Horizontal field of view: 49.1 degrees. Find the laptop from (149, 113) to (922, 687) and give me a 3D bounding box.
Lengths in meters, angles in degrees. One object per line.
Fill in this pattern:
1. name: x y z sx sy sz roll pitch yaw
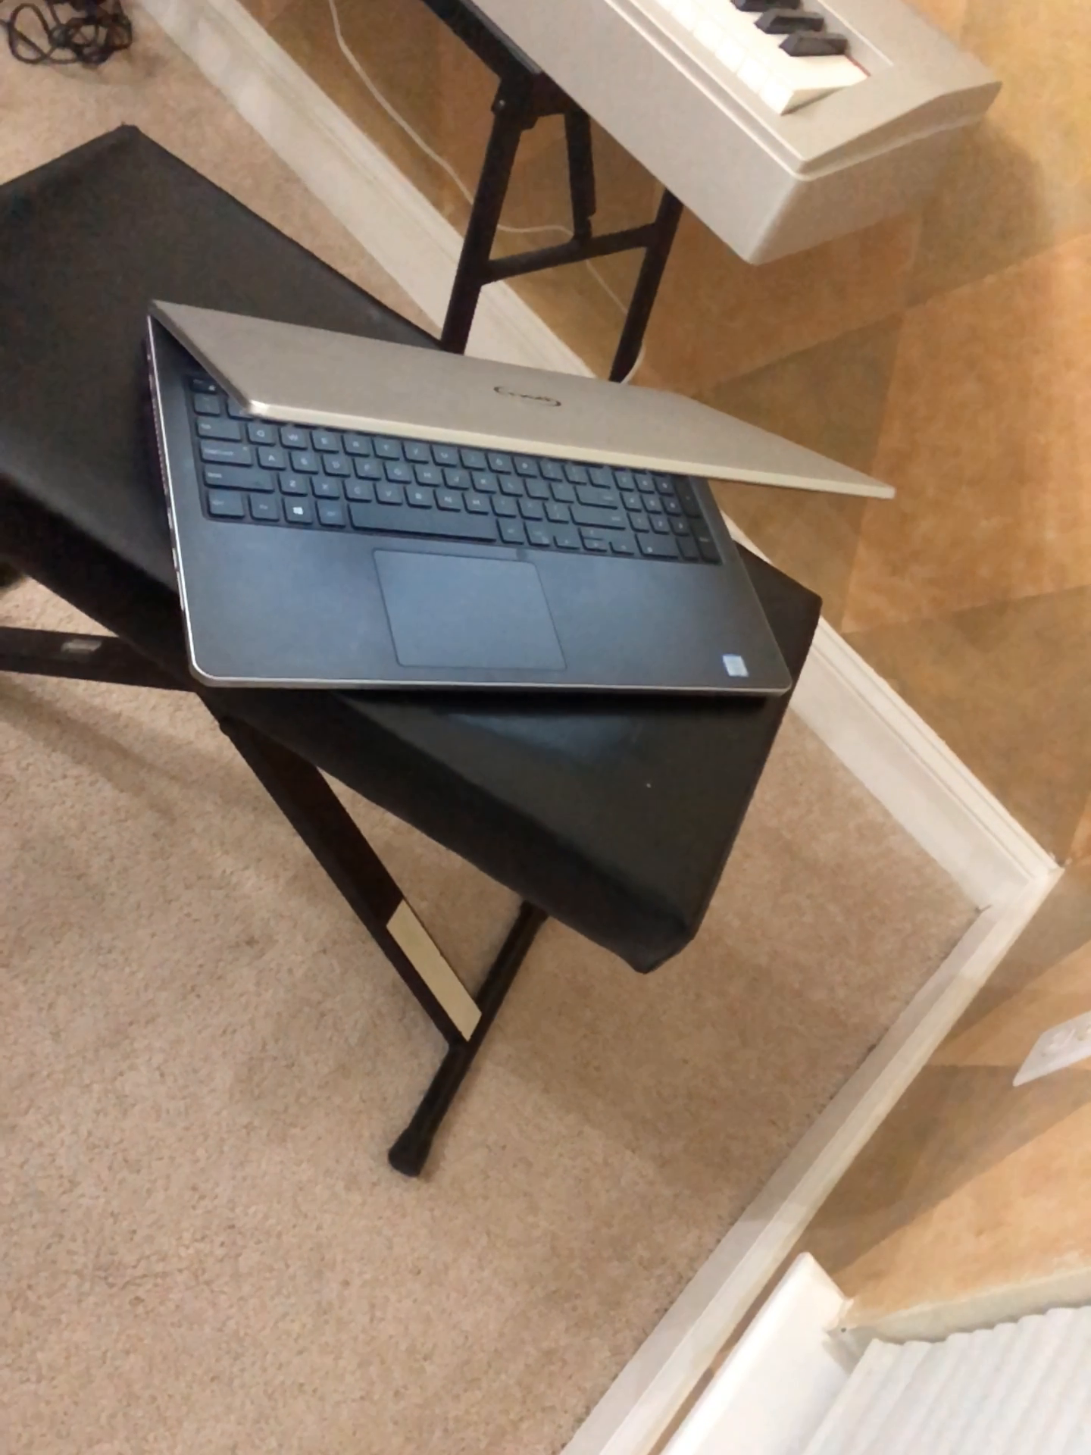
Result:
1. laptop: -0.011 -0.172 0.700 0.376 0.132 0.256 0 60 -29
